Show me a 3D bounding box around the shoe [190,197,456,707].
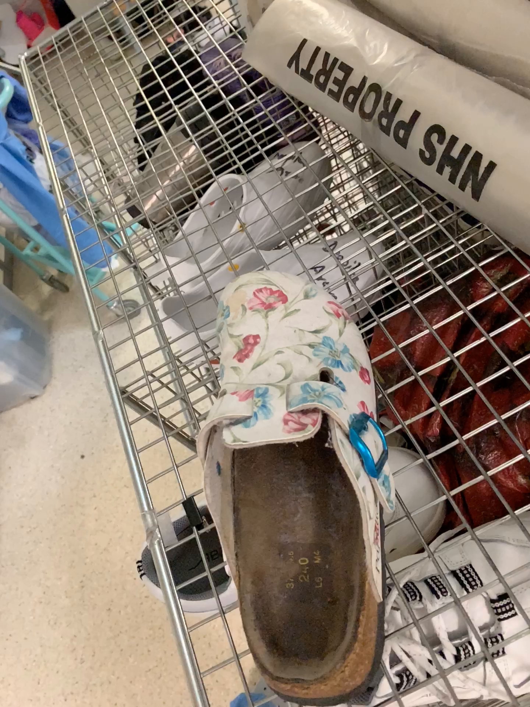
[{"bbox_3d":[0.021,0.042,0.313,0.100,0.070,0.260,-15,58,14],"label":"shoe"}]
